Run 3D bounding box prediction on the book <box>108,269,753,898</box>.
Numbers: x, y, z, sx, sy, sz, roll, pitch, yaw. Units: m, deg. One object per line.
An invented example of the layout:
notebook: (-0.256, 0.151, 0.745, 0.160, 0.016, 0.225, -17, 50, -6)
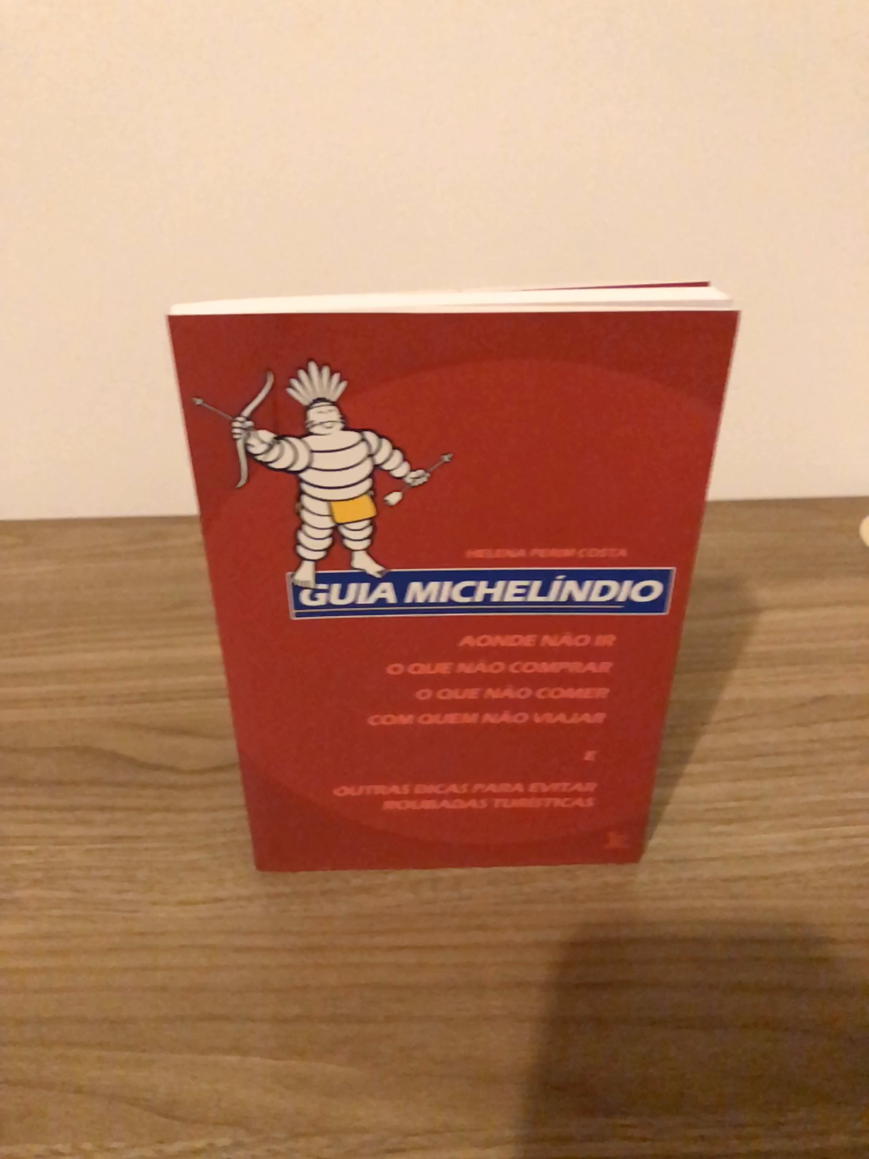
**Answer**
book: (0.000, 0.019, 0.295, 0.150, 0.218, 0.020, -2, 36, -2)
